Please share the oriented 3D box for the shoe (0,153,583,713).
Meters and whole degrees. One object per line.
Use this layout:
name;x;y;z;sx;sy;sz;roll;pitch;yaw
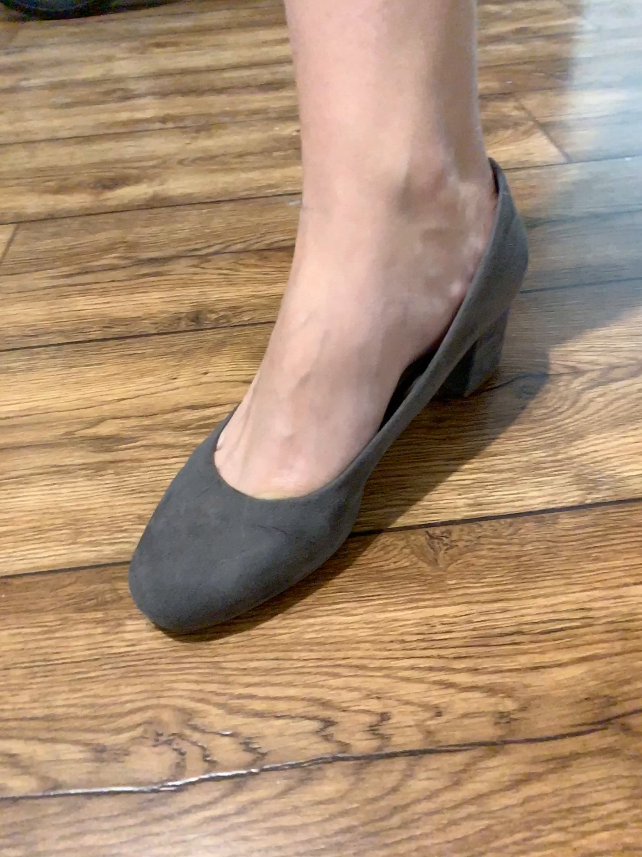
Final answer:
shoe;0.005;-0.013;0.271;0.084;0.109;0.210;32;55;34
